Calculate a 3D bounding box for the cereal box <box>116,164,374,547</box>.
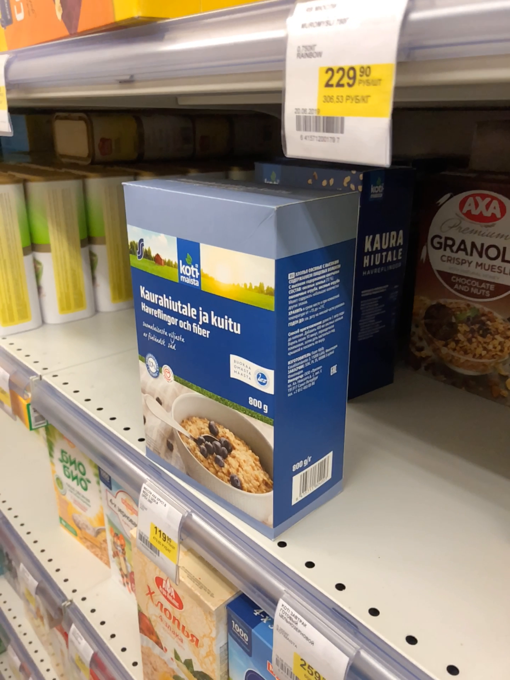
[{"bbox_3d":[-0.012,-0.002,0.393,0.150,0.219,0.080,20,29,41],"label":"cereal box"}]
